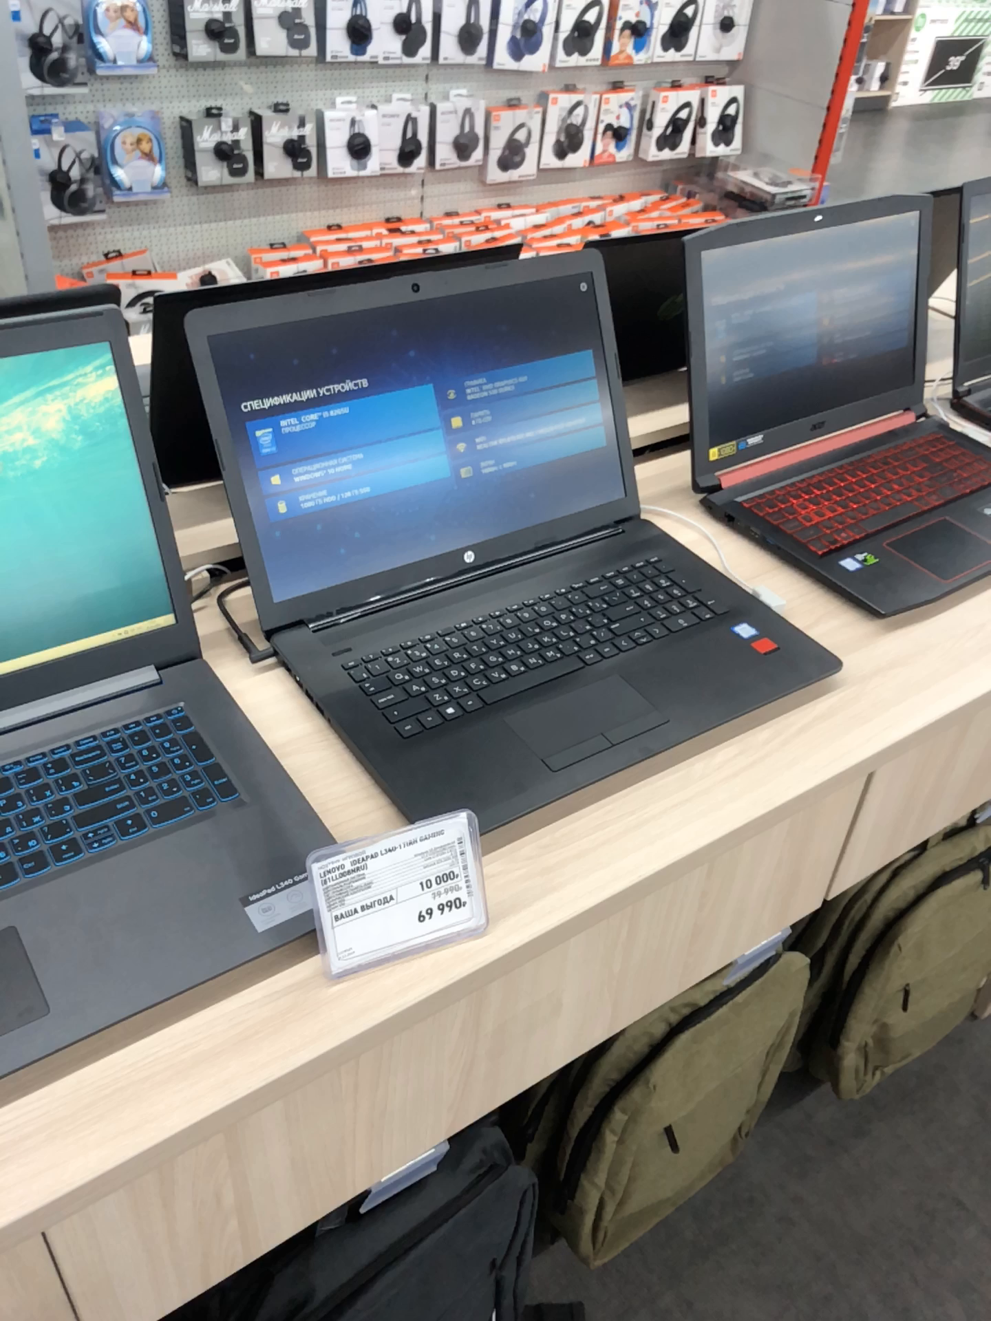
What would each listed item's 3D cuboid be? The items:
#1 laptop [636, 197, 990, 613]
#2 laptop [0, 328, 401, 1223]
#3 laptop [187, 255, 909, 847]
[{"bbox_3d":[0.425,-0.277,1.098,0.403,0.223,0.303,-23,50,-31],"label":"laptop"},{"bbox_3d":[-0.332,0.009,0.607,0.381,0.226,0.373,-21,46,-34],"label":"laptop"},{"bbox_3d":[0.026,-0.126,0.859,0.388,0.213,0.373,-21,46,-31],"label":"laptop"}]
